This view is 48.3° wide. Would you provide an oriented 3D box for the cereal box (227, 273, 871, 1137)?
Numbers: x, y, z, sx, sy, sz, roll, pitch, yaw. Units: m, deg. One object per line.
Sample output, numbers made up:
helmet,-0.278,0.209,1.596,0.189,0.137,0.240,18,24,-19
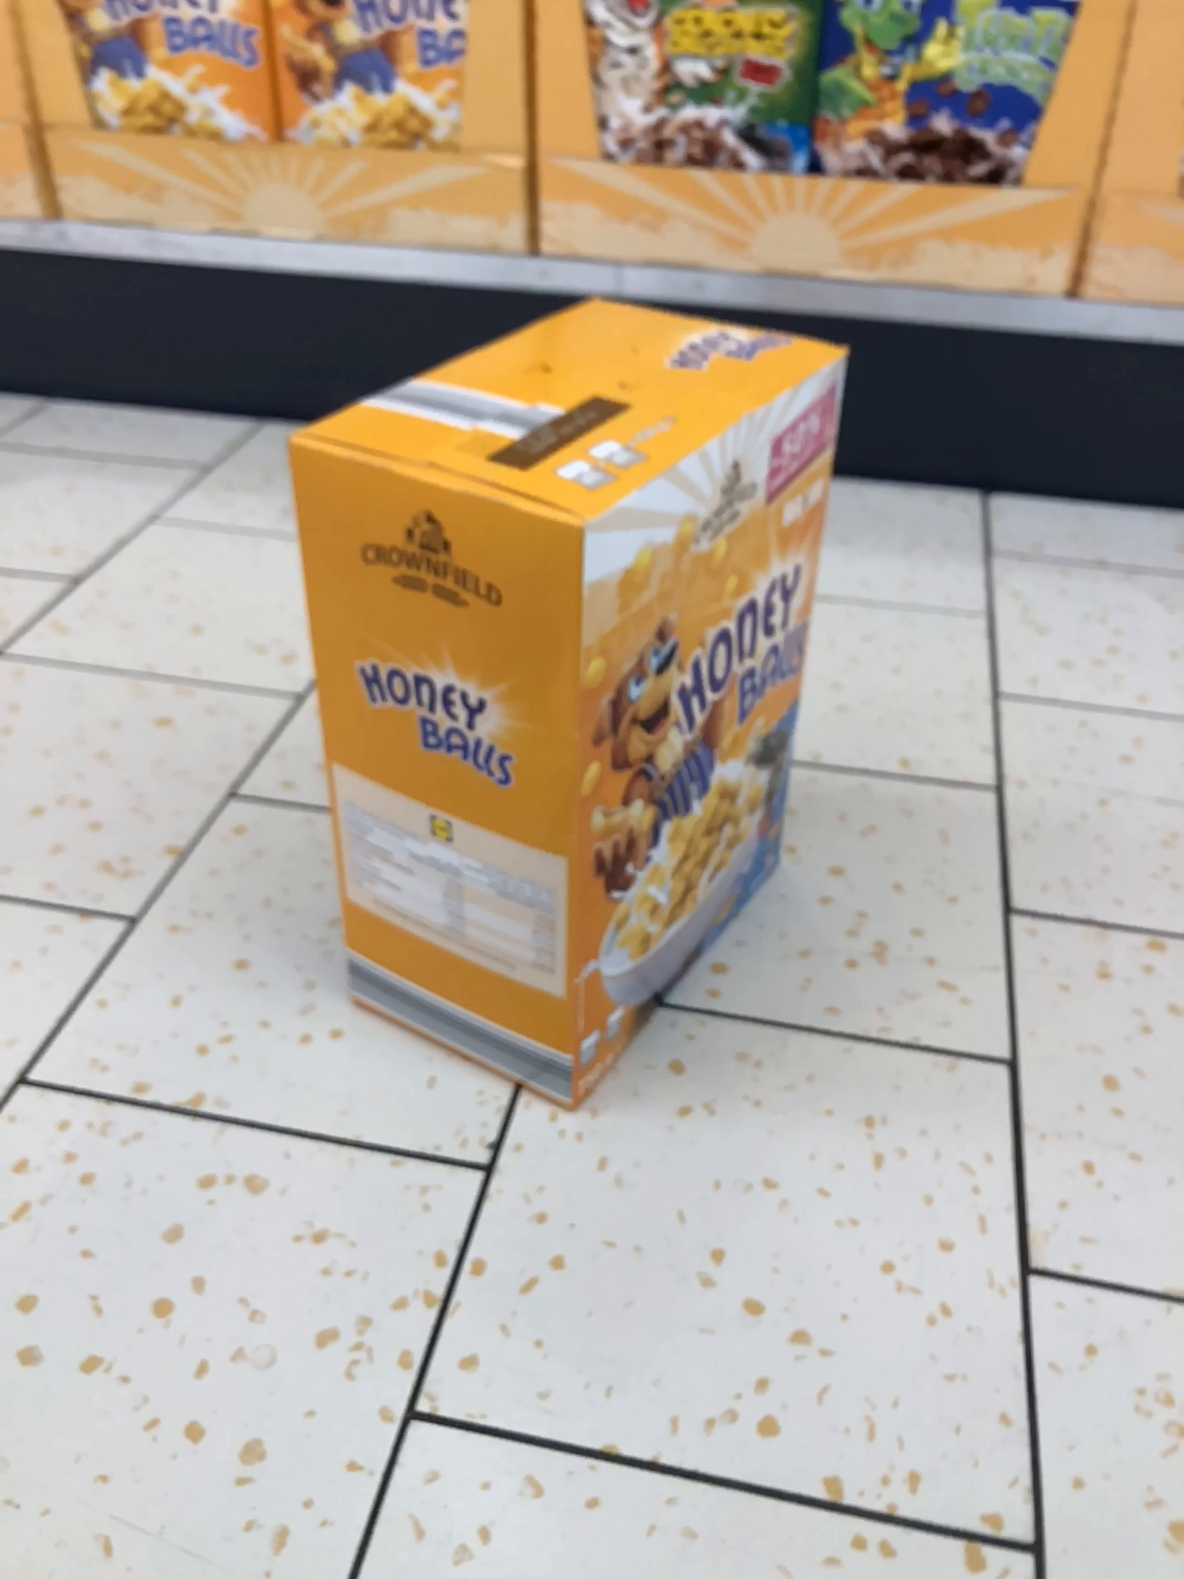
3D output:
cereal box,-0.007,-0.043,0.539,0.130,0.258,0.211,21,40,25
